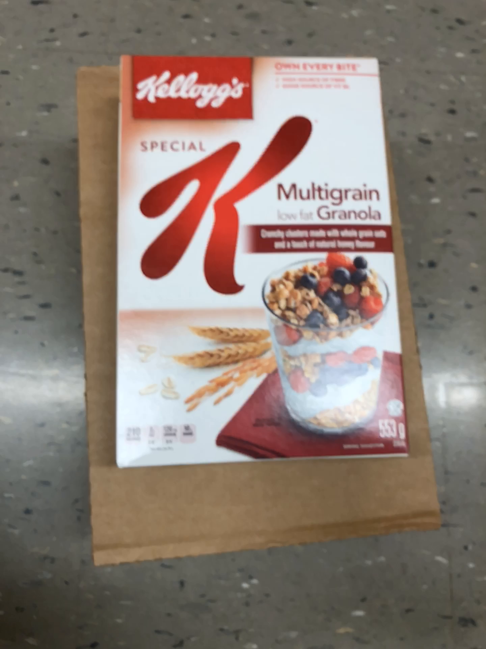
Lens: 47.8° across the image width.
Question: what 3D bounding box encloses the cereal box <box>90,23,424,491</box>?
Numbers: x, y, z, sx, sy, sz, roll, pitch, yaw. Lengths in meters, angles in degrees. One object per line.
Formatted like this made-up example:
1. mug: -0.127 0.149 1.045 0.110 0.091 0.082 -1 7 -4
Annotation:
1. cereal box: 0.002 -0.044 0.342 0.180 0.050 0.270 0 77 -11
